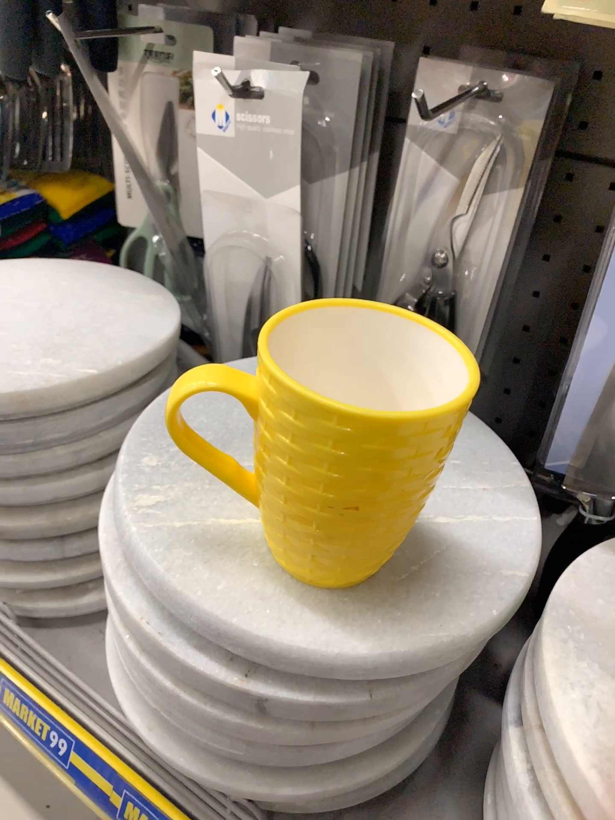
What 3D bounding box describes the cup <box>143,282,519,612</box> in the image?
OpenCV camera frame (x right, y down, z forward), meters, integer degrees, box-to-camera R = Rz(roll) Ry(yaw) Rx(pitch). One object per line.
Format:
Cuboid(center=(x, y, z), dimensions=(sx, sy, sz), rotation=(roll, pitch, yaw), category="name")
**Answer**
Cuboid(center=(-0.002, 0.010, 0.257), dimensions=(0.120, 0.090, 0.090), rotation=(-2, 35, -13), category="cup")
